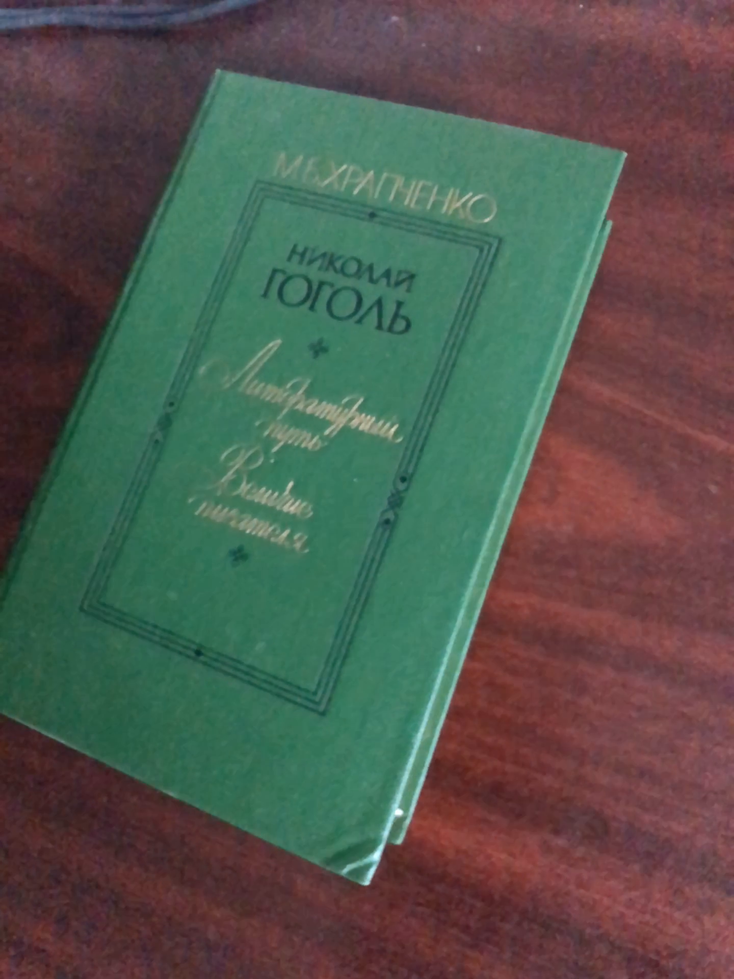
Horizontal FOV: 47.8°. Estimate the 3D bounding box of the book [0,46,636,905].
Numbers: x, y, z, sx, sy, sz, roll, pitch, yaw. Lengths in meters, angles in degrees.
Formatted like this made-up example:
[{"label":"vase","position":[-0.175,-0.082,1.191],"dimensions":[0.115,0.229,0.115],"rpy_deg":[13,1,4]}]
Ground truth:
[{"label":"book","position":[-0.019,-0.015,0.245],"dimensions":[0.129,0.050,0.206],"rpy_deg":[18,82,16]}]
